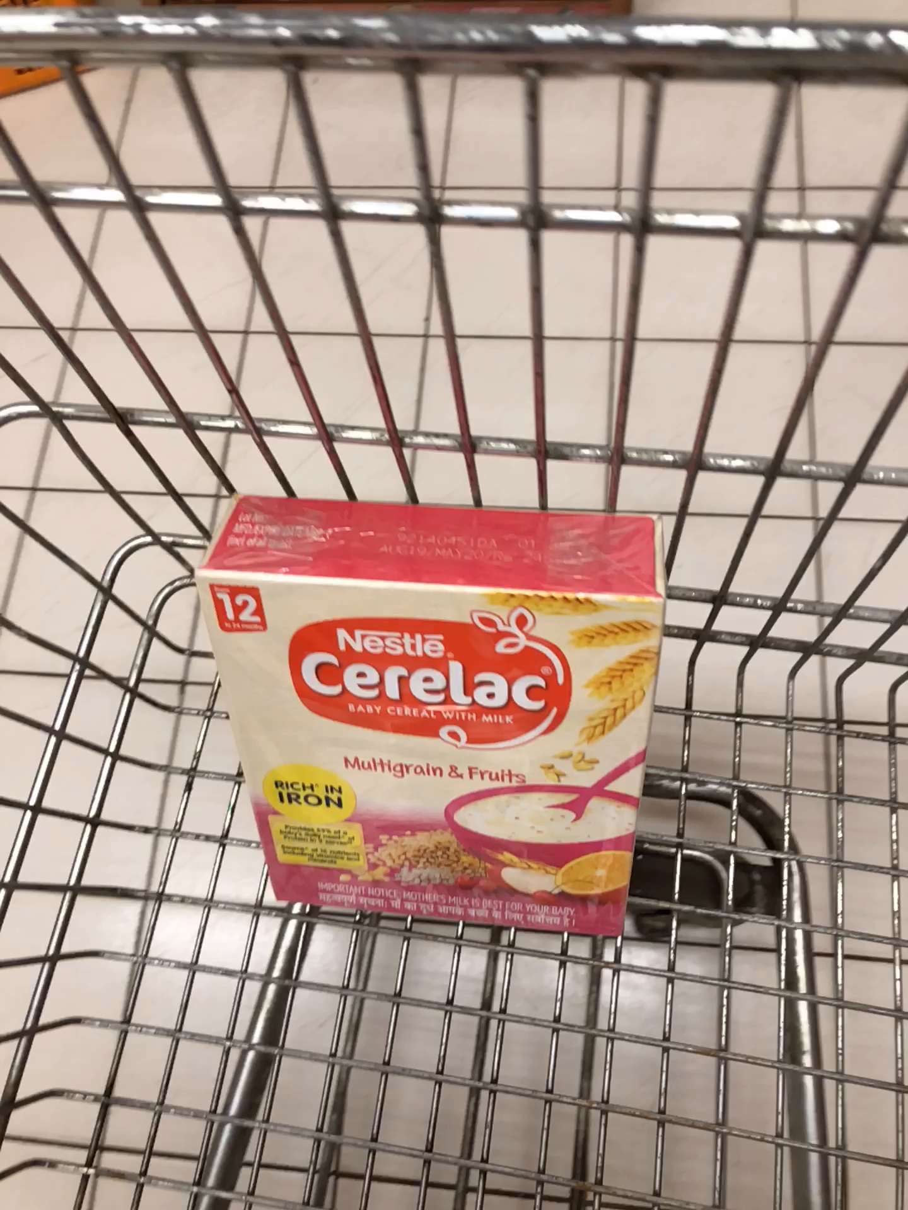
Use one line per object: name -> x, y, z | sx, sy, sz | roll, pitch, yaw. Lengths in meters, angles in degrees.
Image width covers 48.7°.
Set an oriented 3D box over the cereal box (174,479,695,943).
cereal box -> -0.003, 0.049, 0.386 | 0.160, 0.189, 0.050 | 4, 41, 7
